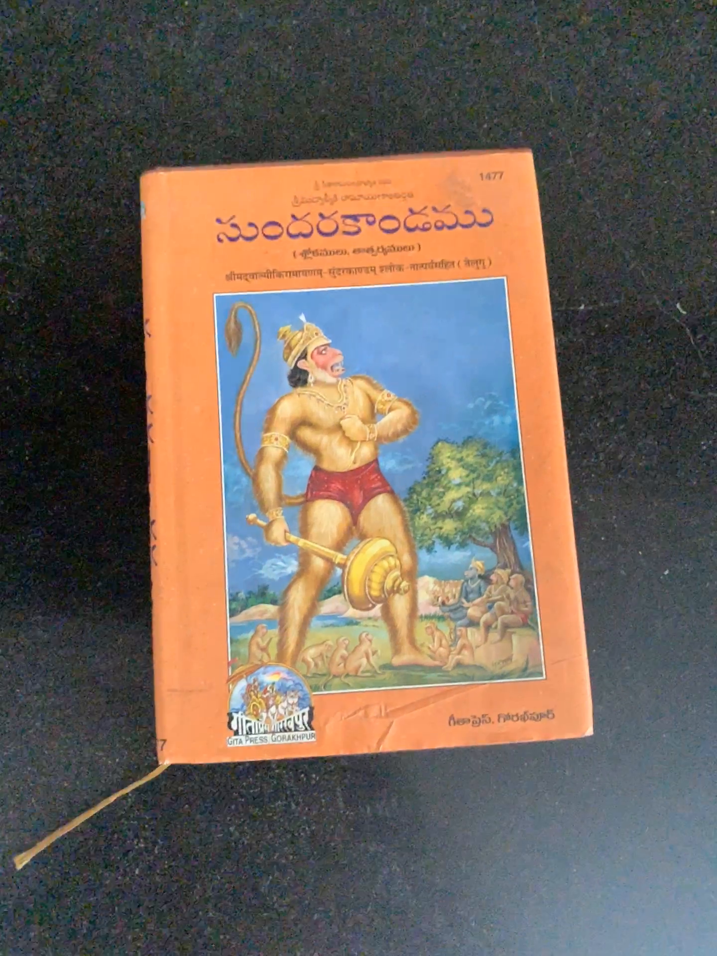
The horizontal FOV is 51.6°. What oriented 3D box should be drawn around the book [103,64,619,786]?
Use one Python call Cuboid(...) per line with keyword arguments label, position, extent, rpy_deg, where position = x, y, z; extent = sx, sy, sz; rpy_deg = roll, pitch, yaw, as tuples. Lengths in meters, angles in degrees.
Cuboid(label="book", position=(-0.006, -0.031, 0.333), extent=(0.200, 0.040, 0.300), rpy_deg=(-3, 82, -2))
